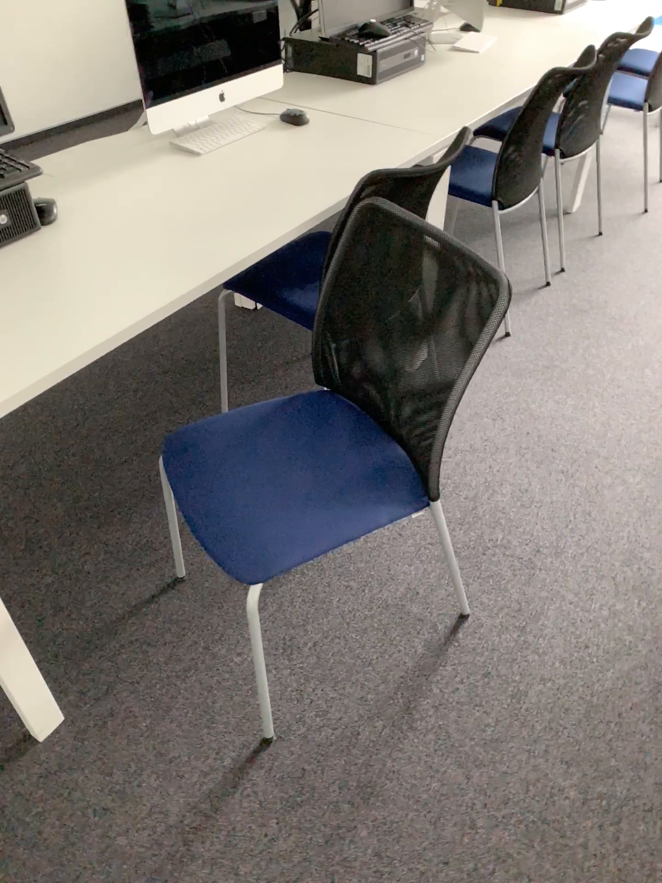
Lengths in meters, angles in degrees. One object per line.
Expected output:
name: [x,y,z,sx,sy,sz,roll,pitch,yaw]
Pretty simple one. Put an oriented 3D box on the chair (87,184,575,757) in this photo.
chair: [-0.023,0.061,1.394,0.601,0.895,0.542,-22,46,-24]
